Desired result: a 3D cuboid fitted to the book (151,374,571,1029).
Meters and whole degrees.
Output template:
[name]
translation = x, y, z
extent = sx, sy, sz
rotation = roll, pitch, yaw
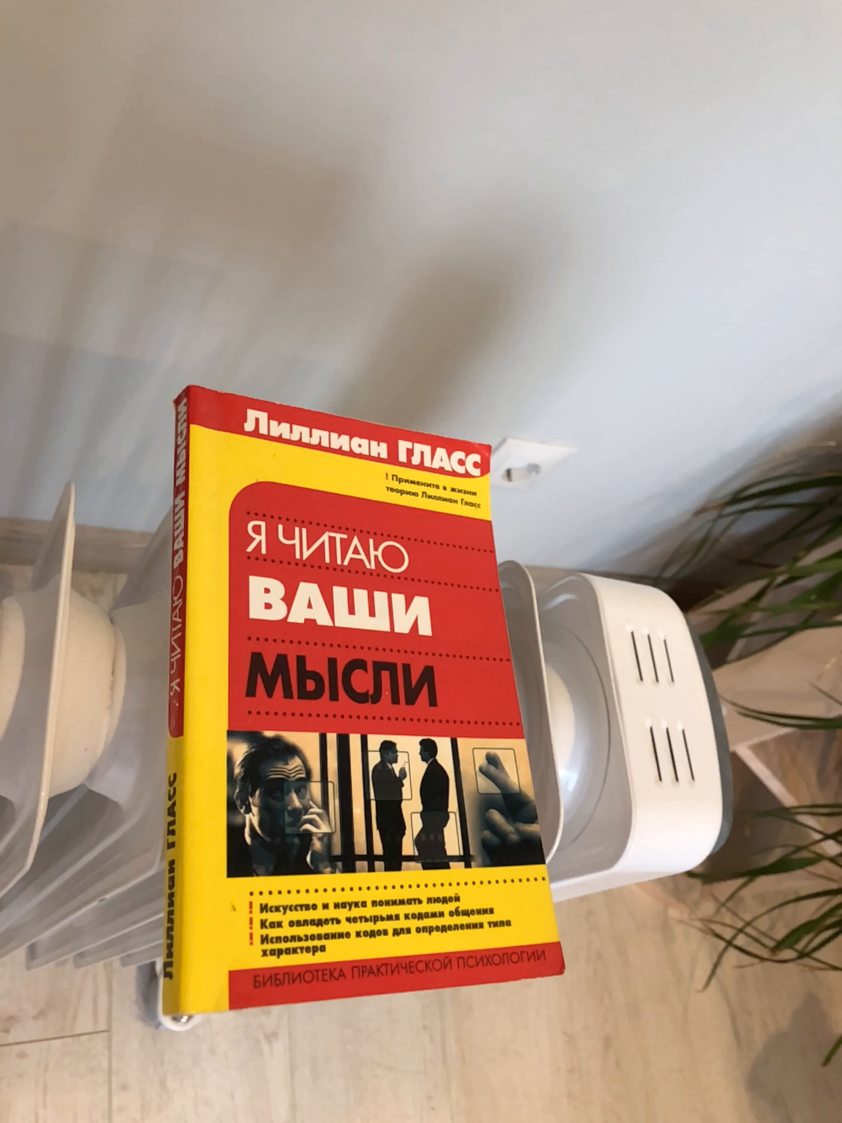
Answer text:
[book]
translation = -0.023, 0.039, 0.322
extent = 0.129, 0.020, 0.207
rotation = 7, 62, -27
